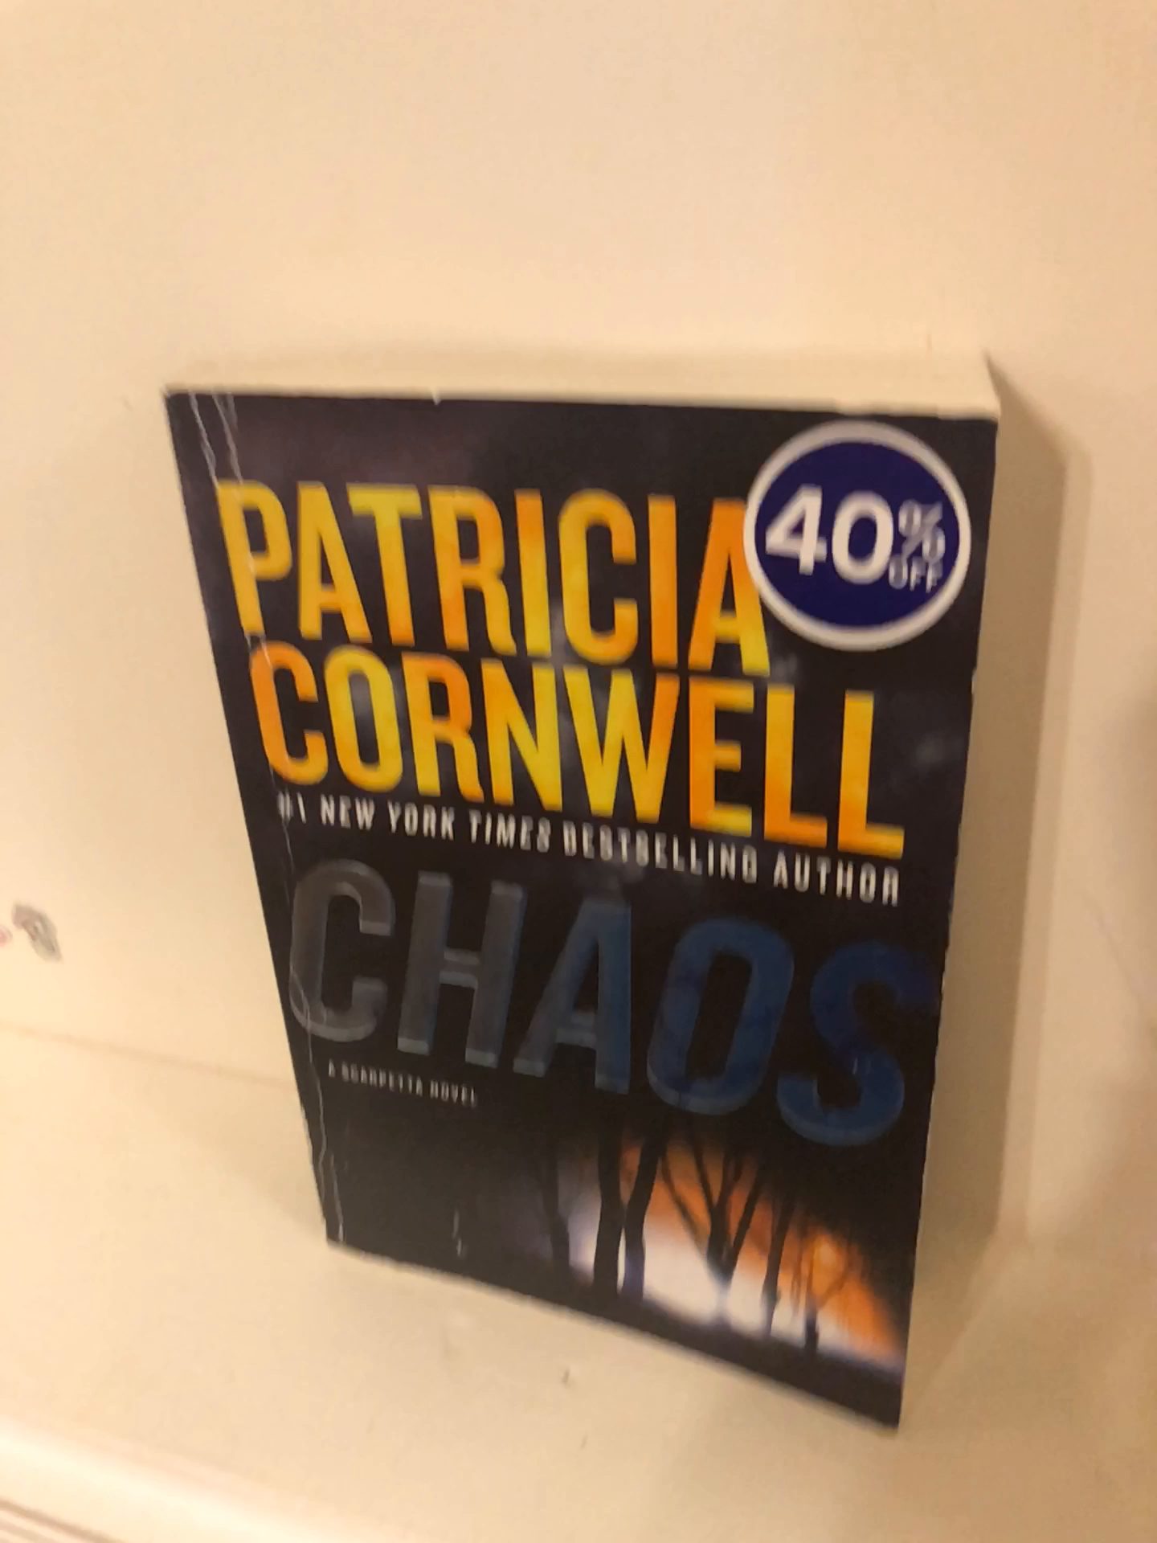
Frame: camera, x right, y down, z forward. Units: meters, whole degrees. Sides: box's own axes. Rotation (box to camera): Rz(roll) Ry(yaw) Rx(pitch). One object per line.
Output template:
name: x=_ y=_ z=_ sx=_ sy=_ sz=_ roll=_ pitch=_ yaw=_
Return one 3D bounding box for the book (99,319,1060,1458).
book: x=-0.002 y=0.021 z=0.277 sx=0.170 sy=0.219 sz=0.050 roll=9 pitch=25 yaw=23
